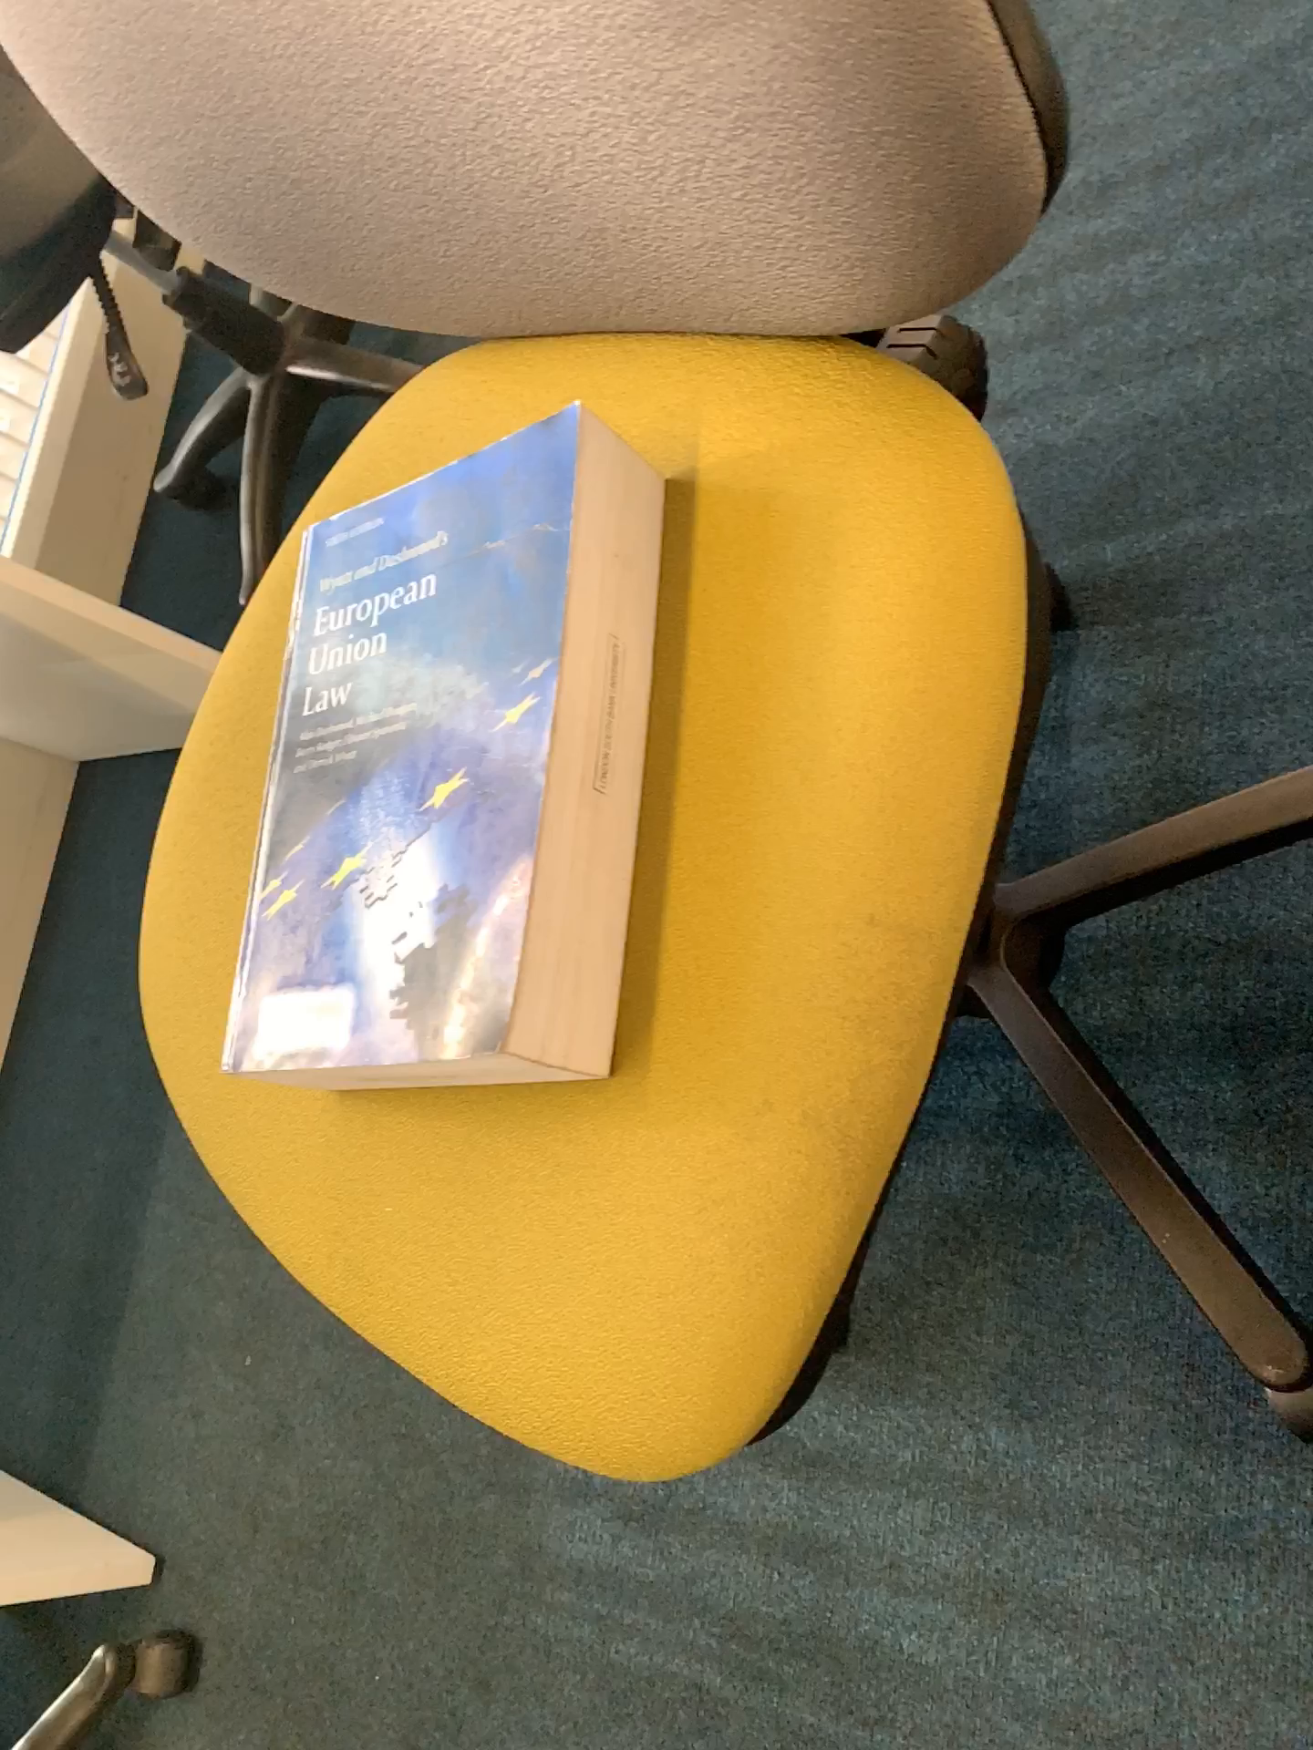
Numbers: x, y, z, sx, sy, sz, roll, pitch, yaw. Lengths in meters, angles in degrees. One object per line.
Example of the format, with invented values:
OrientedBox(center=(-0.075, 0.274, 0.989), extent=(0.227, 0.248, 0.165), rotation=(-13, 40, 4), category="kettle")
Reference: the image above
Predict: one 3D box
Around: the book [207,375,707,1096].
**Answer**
OrientedBox(center=(-0.079, -0.044, 0.529), extent=(0.181, 0.060, 0.251), rotation=(-9, 69, 38), category="book")
